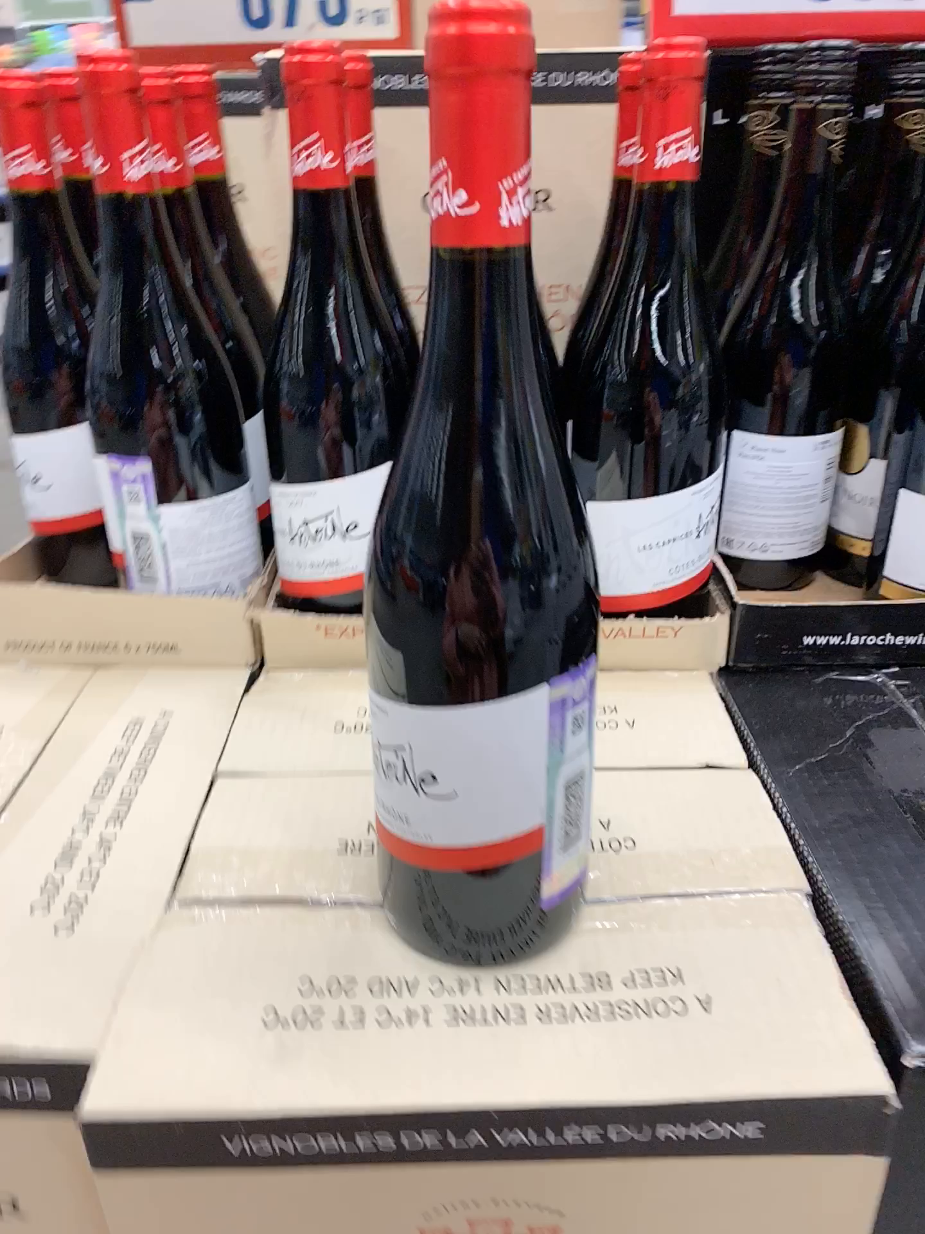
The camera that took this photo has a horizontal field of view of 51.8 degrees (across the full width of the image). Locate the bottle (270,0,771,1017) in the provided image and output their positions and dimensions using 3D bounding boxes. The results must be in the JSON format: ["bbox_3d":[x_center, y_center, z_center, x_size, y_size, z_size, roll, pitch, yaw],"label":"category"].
[{"bbox_3d":[0.012,-0.027,0.309,0.090,0.298,0.090,0,27,0],"label":"bottle"}]
